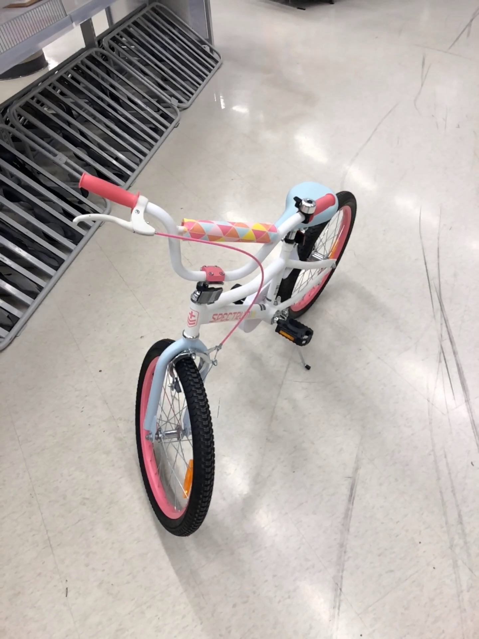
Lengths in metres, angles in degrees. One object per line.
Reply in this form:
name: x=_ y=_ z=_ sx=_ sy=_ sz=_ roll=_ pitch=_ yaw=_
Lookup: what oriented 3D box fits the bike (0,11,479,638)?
bike: x=0.163 y=-0.108 z=1.429 sx=0.632 sy=0.961 sz=1.257 roll=15 pitch=48 yaw=22
